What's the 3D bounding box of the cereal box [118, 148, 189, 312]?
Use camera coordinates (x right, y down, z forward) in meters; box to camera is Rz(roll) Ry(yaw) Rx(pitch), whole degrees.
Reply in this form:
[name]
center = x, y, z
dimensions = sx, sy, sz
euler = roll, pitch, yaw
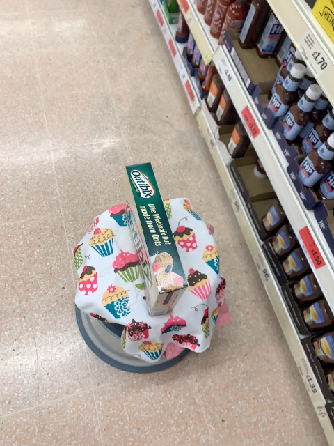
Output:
[cereal box]
center = -0.040, 0.016, 0.699
dimensions = 0.060, 0.169, 0.281
euler = -11, 65, -13
